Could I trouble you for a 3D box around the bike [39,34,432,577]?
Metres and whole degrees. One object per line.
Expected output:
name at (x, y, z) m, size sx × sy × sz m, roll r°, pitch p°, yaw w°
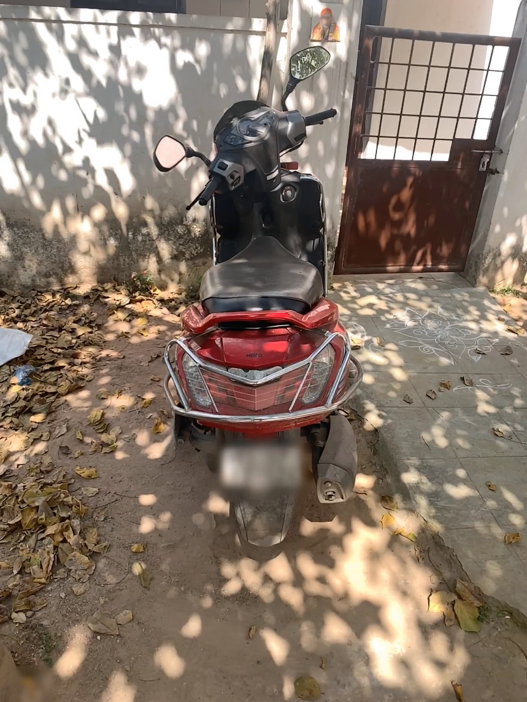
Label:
bike at (-0.211, -0.377, 1.989) m, size 0.735 × 1.155 × 1.769 m, roll -1°, pitch 34°, yaw -9°
